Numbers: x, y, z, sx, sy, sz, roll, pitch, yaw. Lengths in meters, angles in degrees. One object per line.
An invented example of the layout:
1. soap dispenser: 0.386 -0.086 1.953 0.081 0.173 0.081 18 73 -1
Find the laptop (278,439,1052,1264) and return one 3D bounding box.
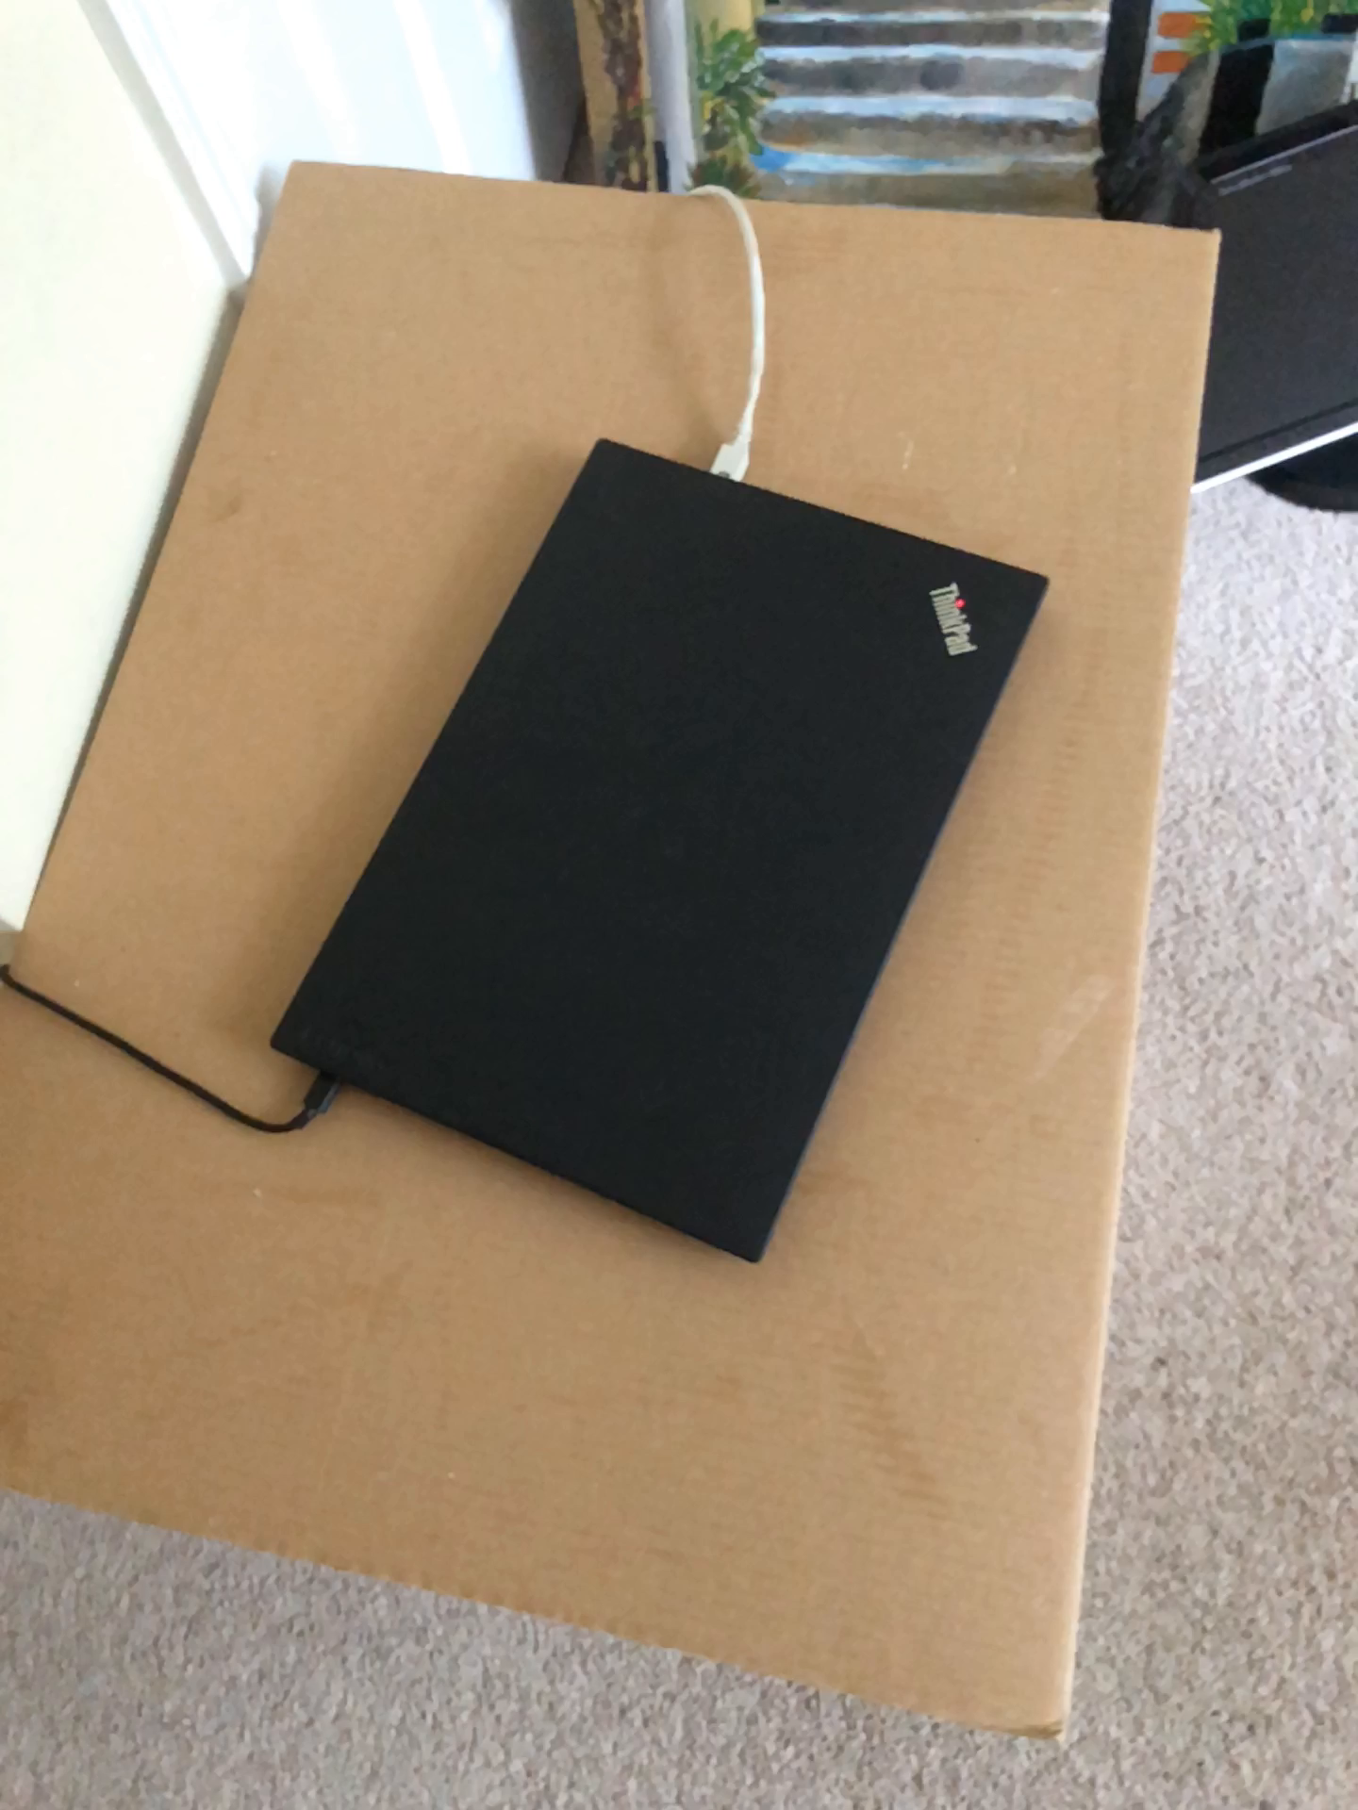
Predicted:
1. laptop: -0.001 -0.045 0.652 0.225 0.002 0.328 21 72 15
